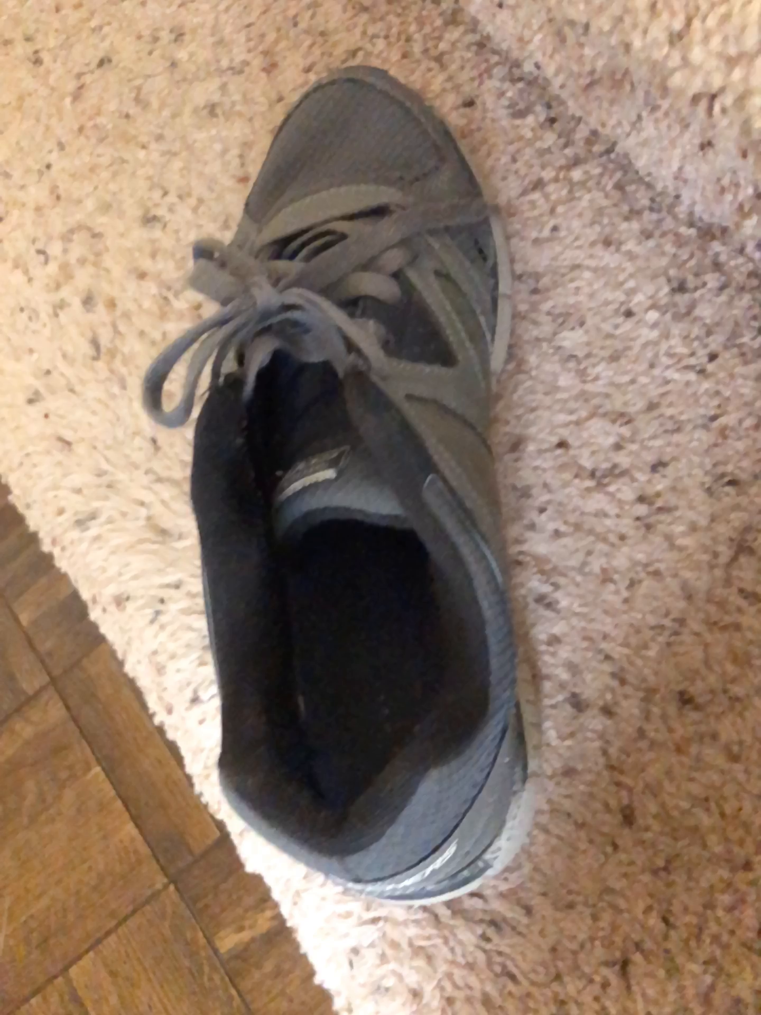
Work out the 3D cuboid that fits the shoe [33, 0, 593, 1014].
[{"bbox_3d":[-0.014,-0.025,0.265,0.110,0.140,0.300,-9,74,12],"label":"shoe"}]
